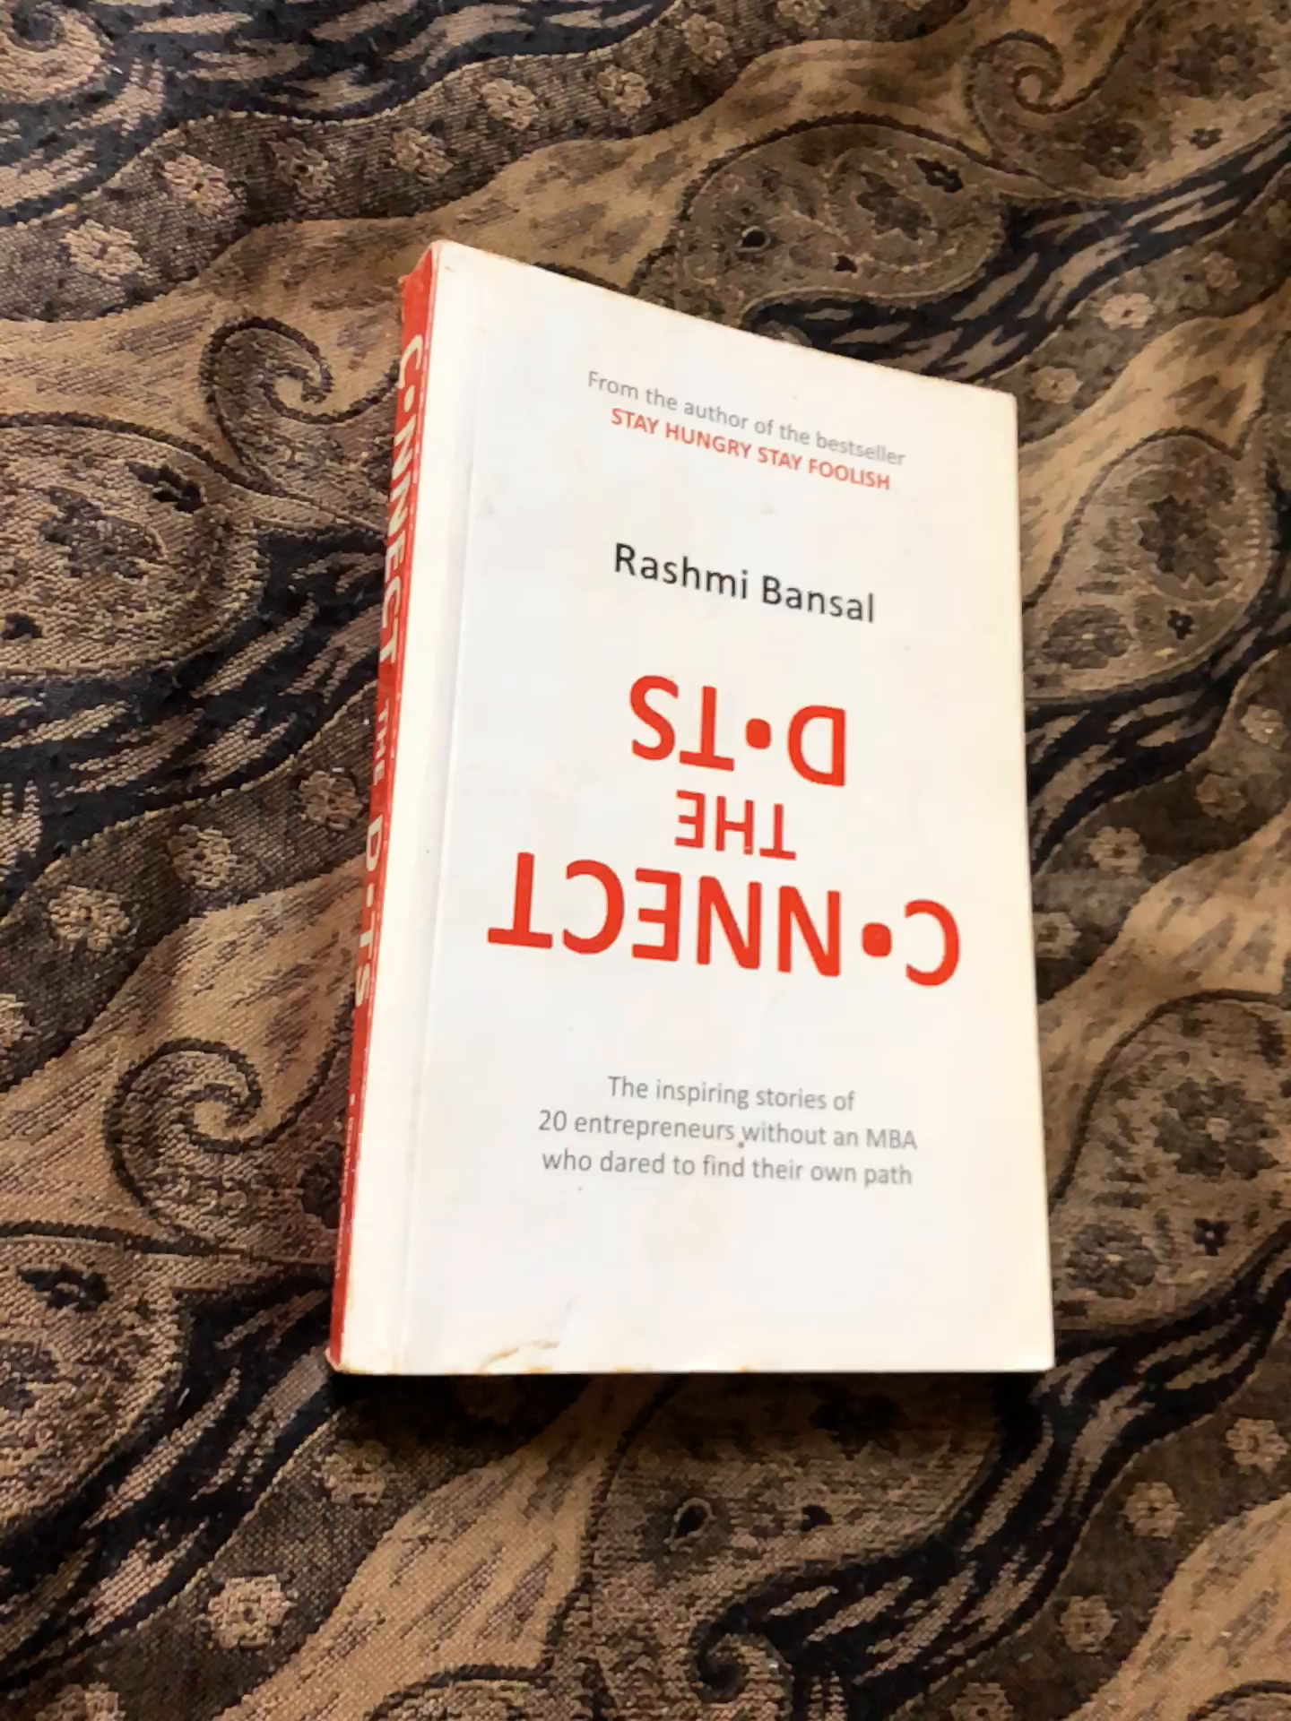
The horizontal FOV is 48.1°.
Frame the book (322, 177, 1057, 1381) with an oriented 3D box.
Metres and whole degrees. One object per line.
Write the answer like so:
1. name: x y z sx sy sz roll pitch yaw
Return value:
1. book: 0.012 -0.014 0.292 0.130 0.040 0.220 6 76 -17
